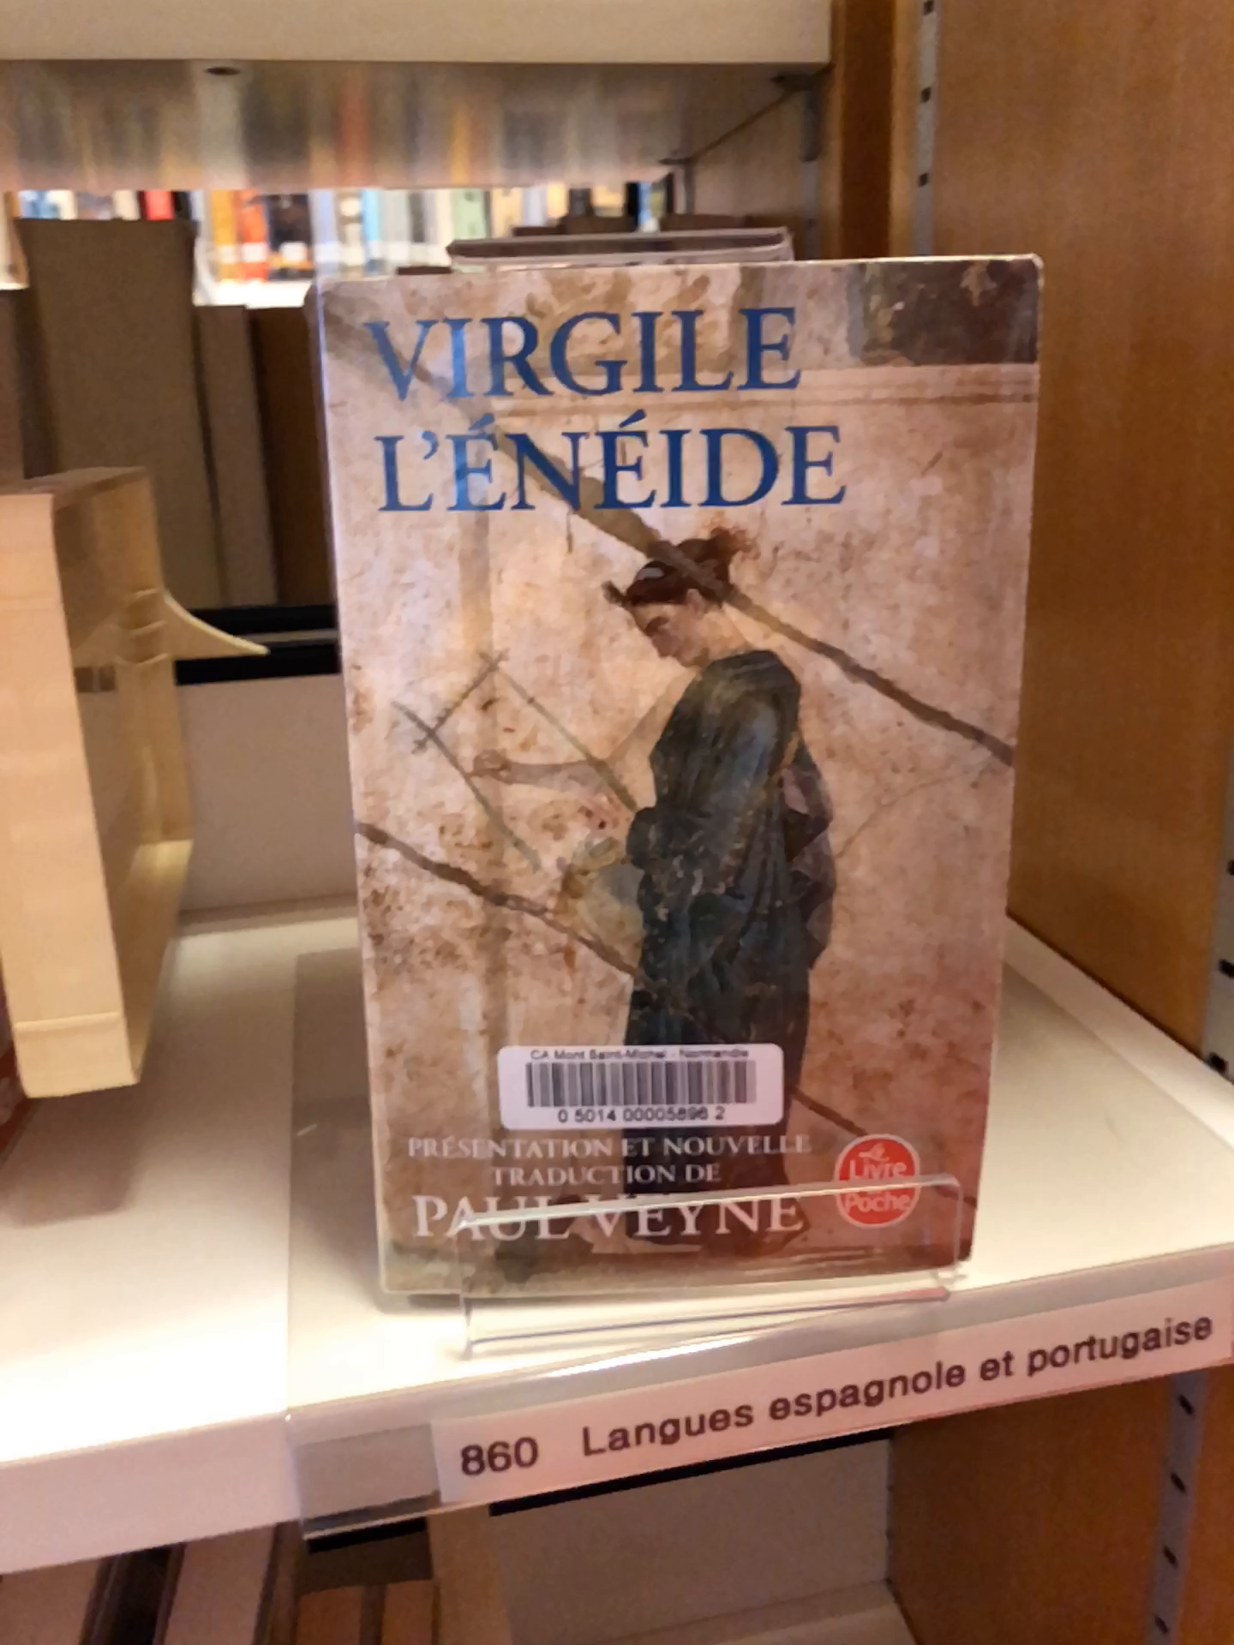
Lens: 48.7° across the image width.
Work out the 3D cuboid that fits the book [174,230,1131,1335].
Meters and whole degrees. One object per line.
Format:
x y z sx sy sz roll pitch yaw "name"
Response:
0.007 -0.008 0.245 0.131 0.168 0.074 -3 16 -2 "book"
